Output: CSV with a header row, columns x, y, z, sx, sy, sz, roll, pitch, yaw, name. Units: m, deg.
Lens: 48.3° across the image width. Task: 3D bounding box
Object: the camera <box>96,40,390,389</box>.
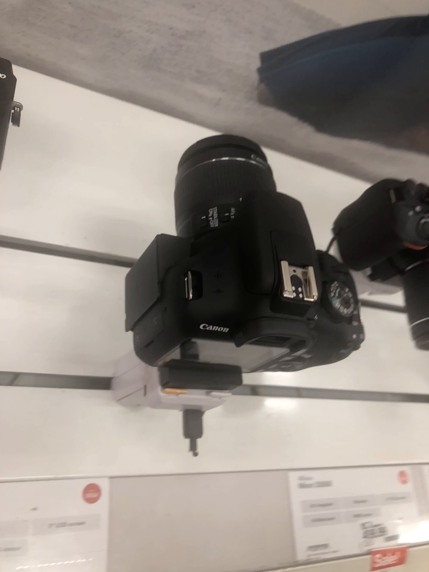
x,y,z,sx,sy,sz,roll,pitch,yaw,name
0.012,-0.031,0.301,0.141,0.089,0.170,9,66,-27,camera
